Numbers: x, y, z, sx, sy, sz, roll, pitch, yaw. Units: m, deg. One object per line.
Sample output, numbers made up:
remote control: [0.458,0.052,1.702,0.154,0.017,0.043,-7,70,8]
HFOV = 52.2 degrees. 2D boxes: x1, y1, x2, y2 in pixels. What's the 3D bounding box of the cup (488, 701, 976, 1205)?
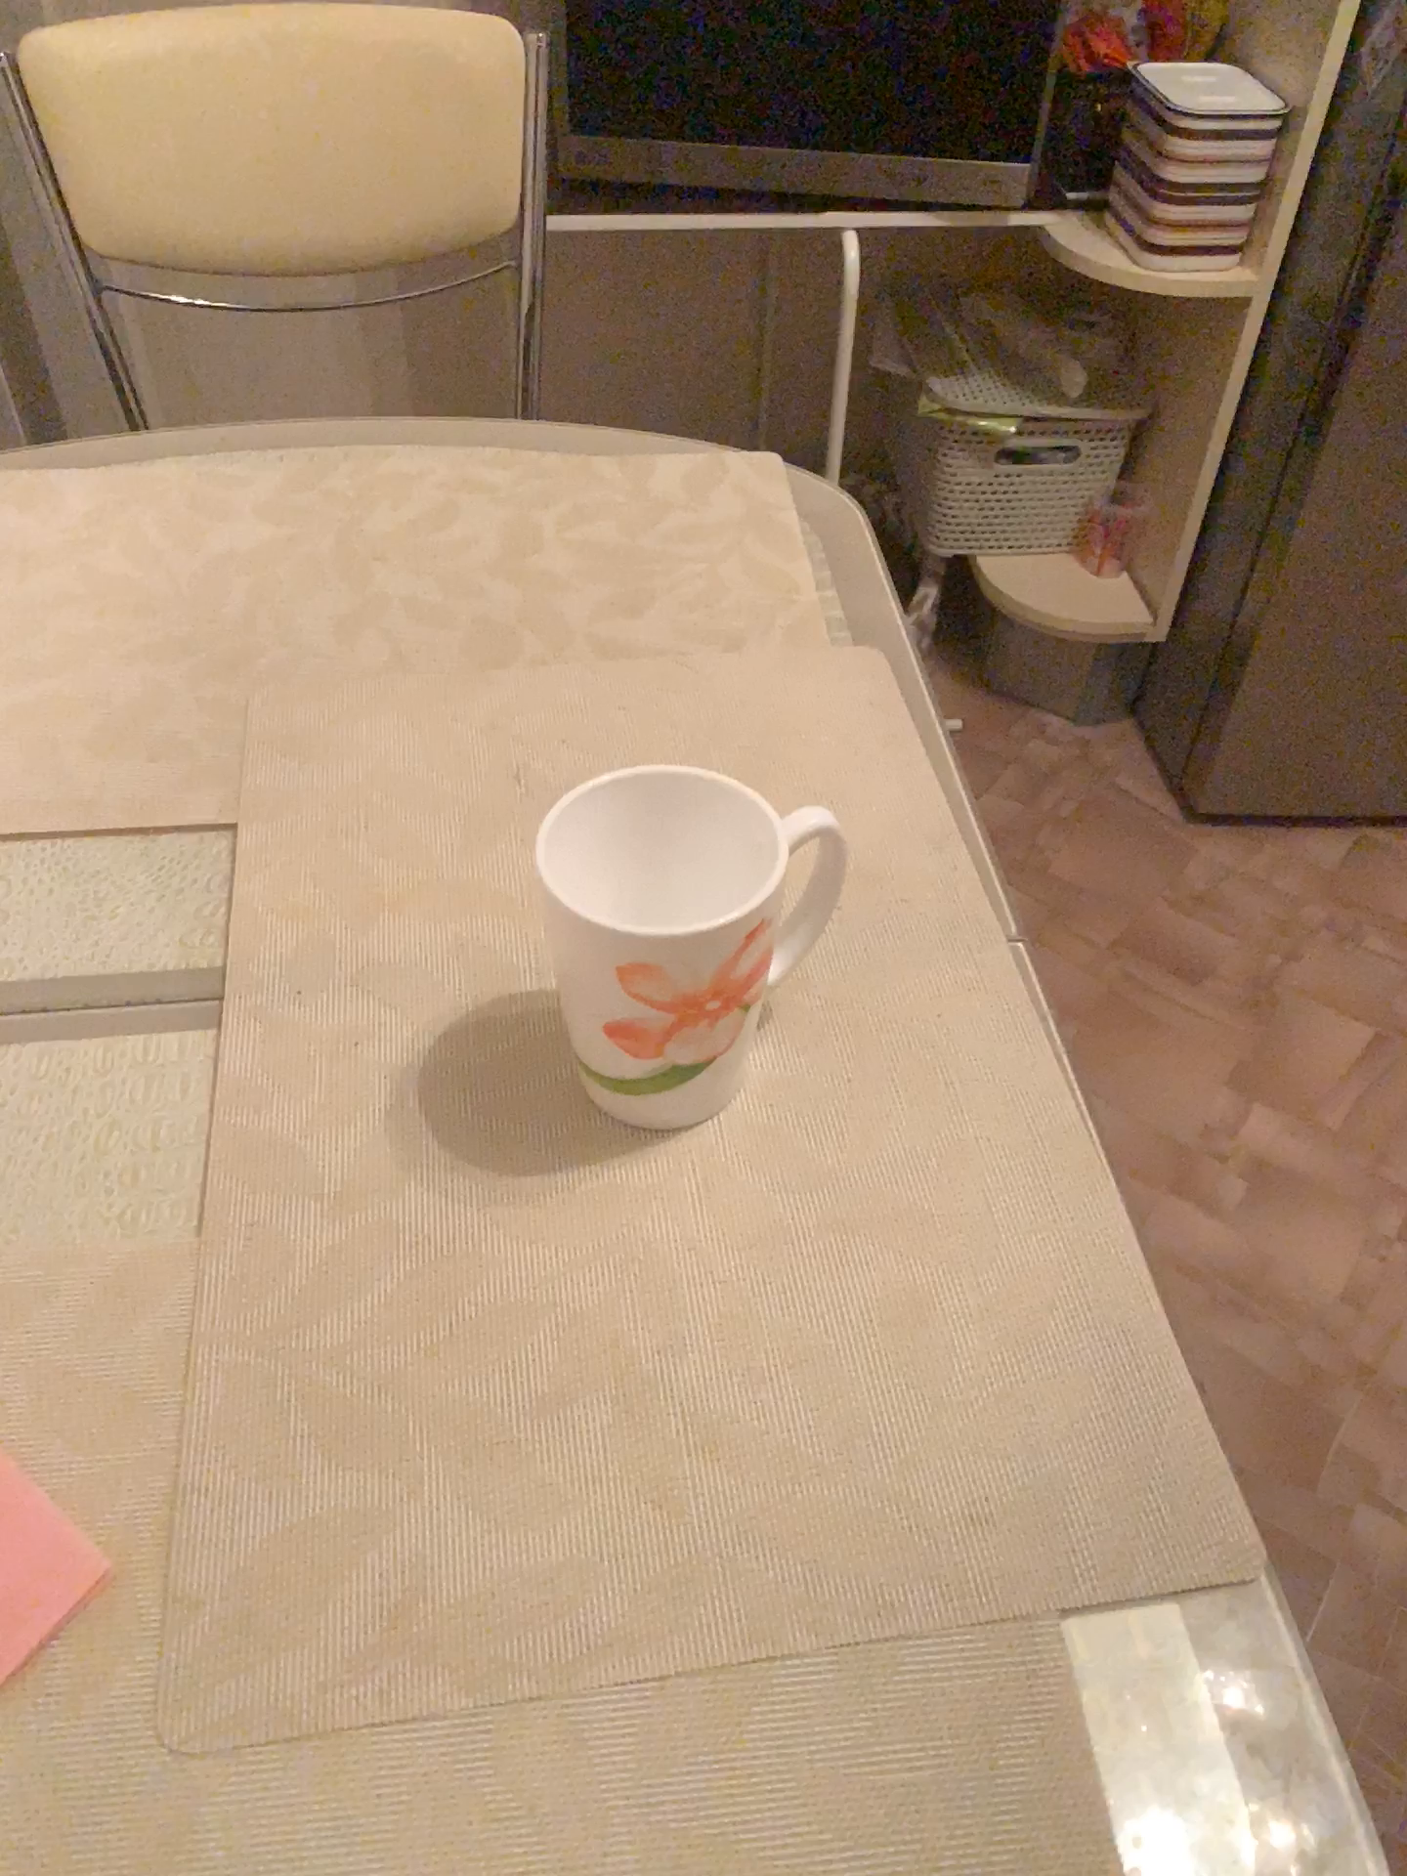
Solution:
cup: [0.006,0.003,0.472,0.120,0.099,0.091,-19,49,-19]
